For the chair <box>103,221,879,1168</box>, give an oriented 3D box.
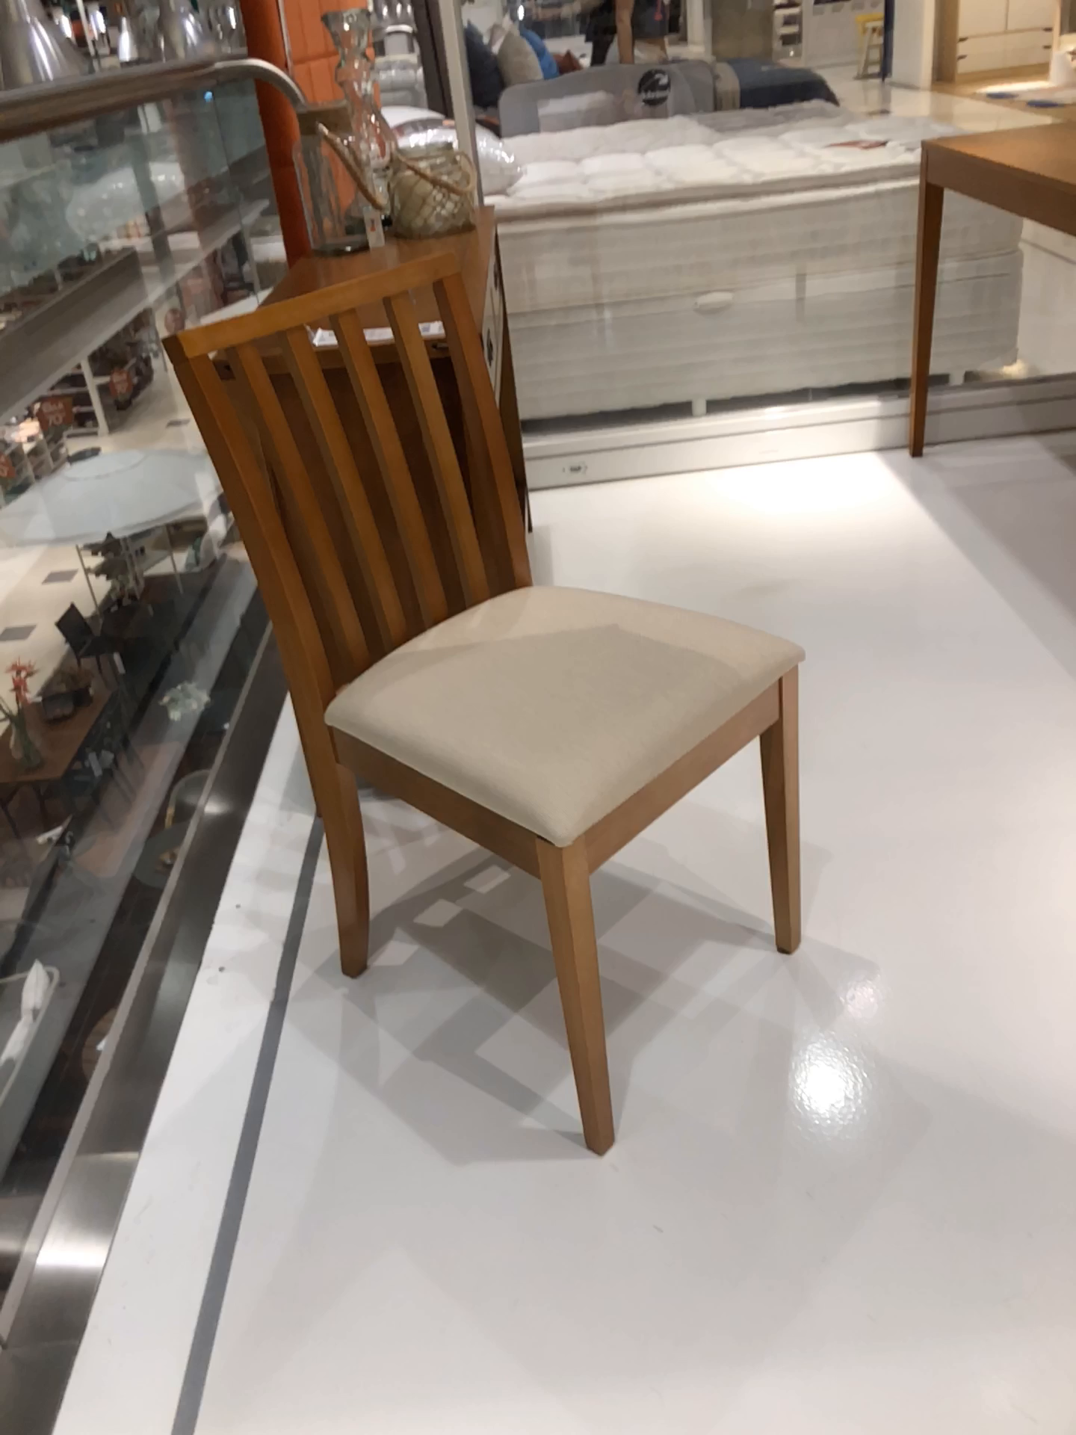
[{"bbox_3d":[0.000,-0.076,1.375,0.552,0.834,0.543,19,39,37],"label":"chair"}]
